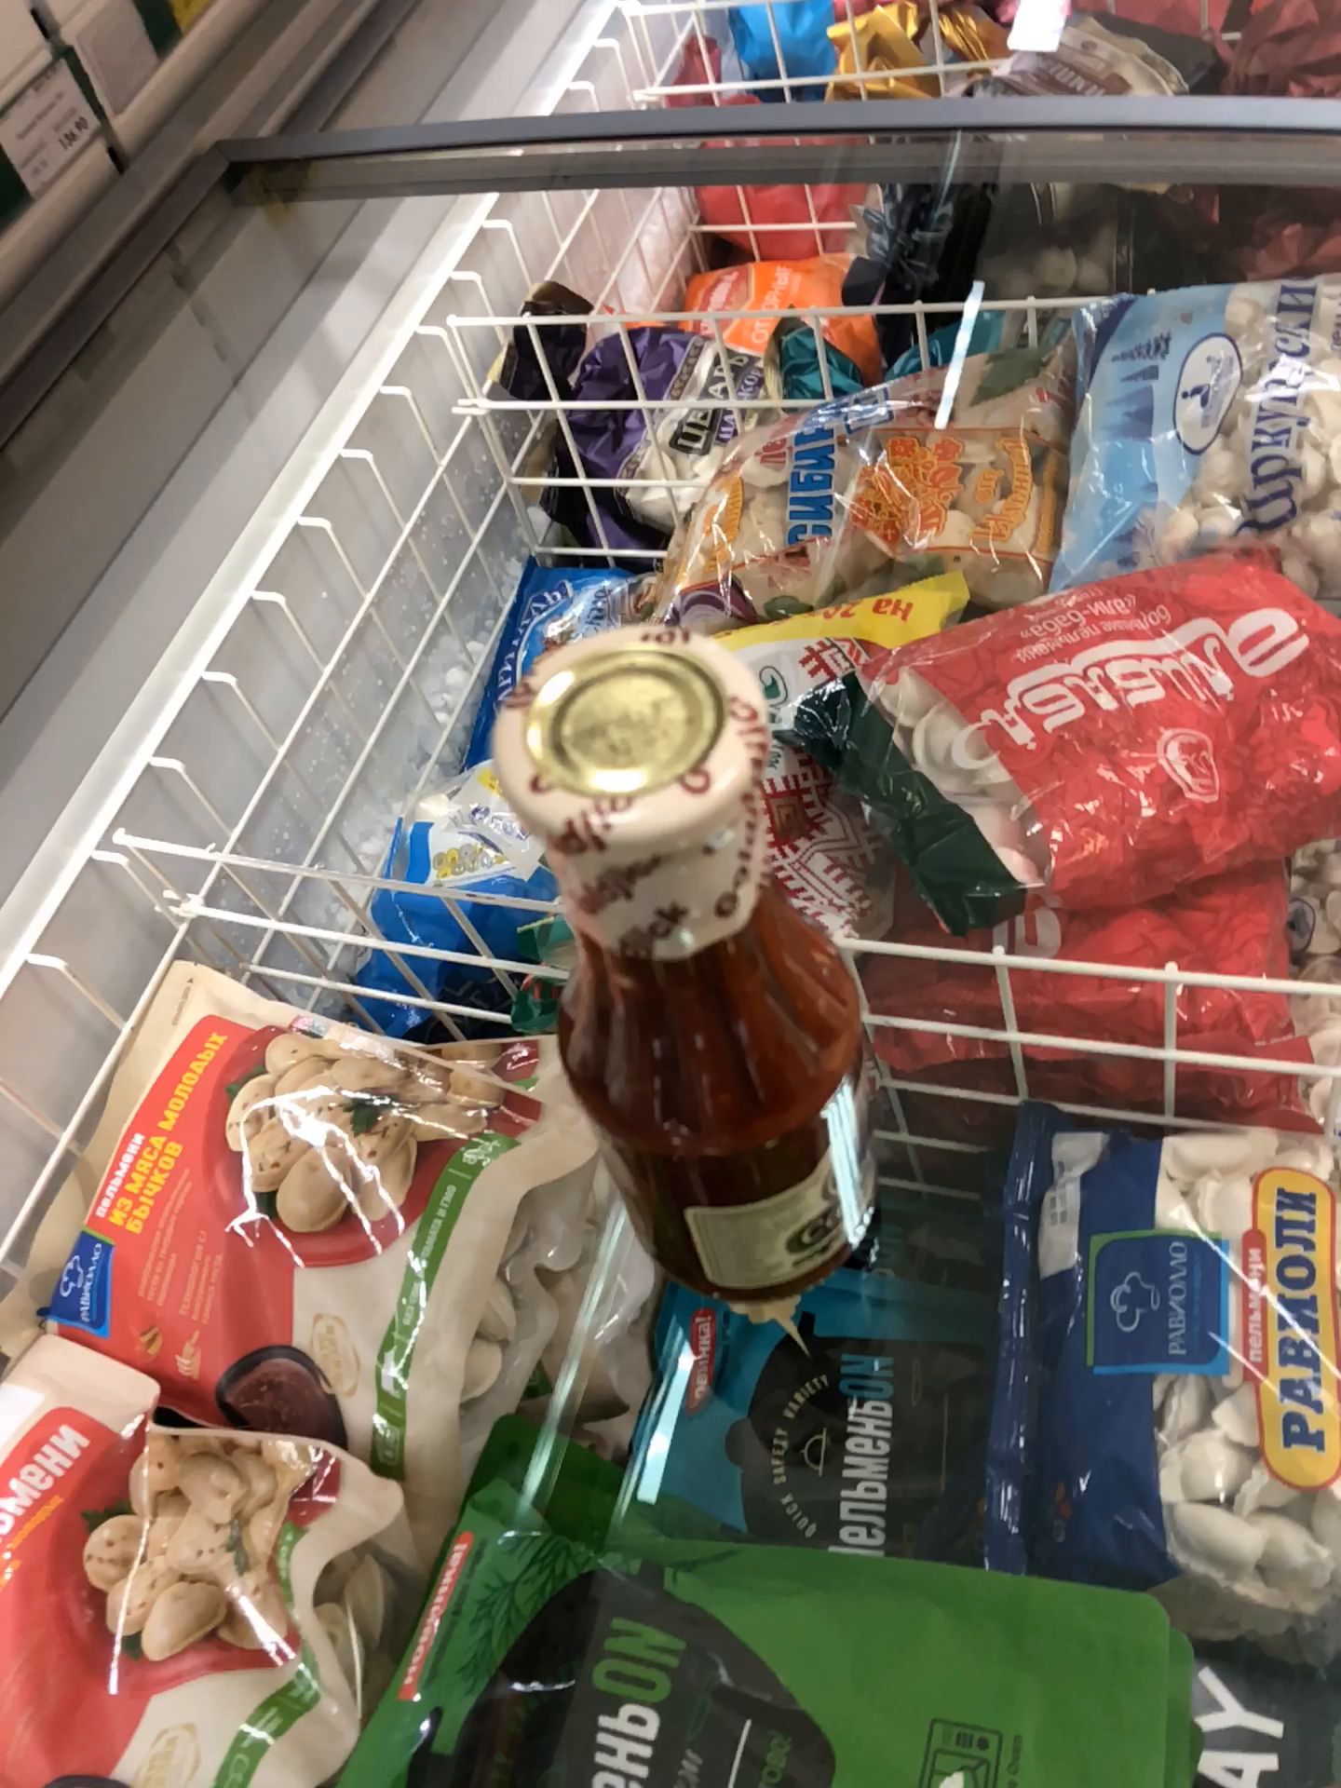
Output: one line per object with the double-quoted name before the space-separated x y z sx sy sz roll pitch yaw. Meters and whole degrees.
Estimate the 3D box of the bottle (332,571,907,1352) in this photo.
"bottle" 0.005 0.026 0.309 0.070 0.179 0.070 -6 54 8
